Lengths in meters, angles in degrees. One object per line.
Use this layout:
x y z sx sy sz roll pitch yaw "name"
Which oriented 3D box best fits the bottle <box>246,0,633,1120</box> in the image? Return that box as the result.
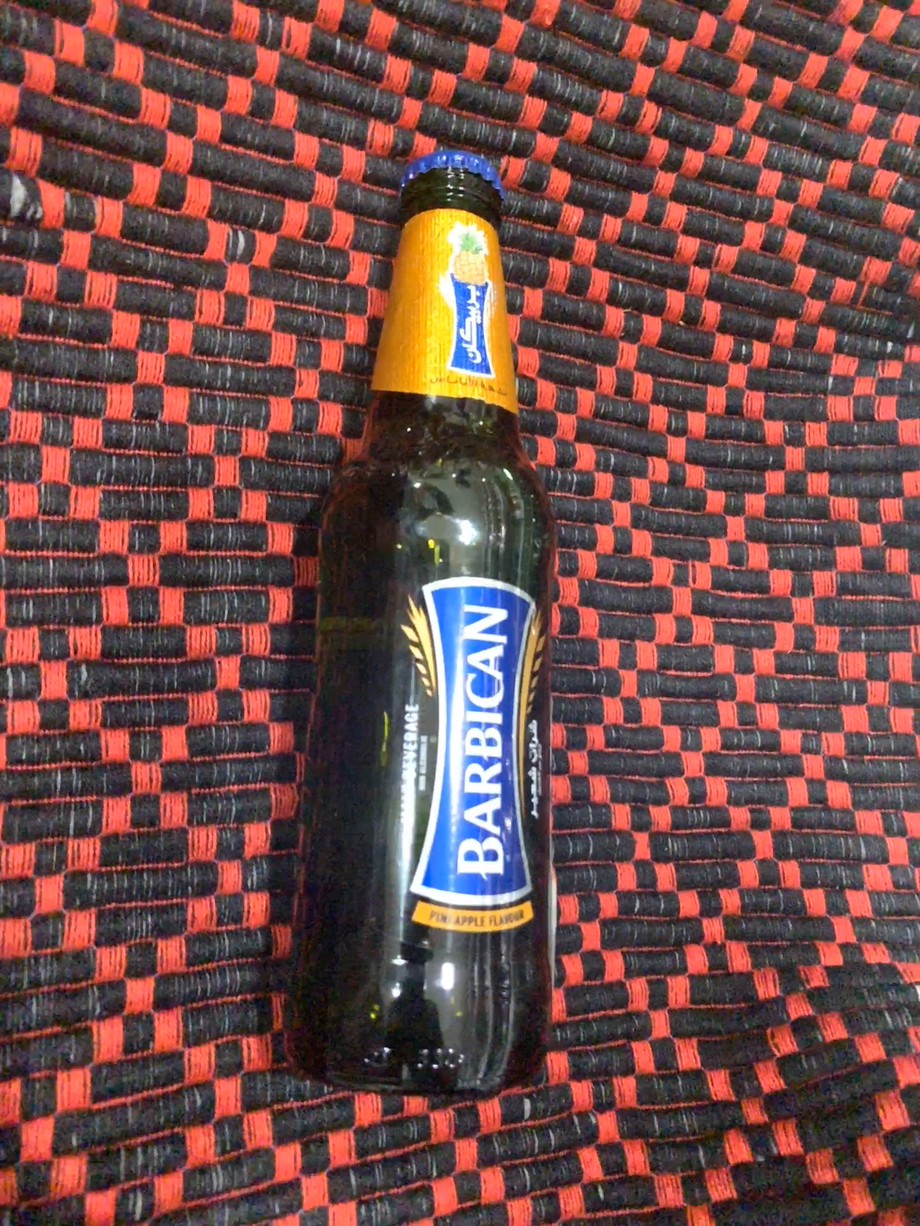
-0.009 -0.021 0.239 0.060 0.070 0.250 7 72 -24 "bottle"
